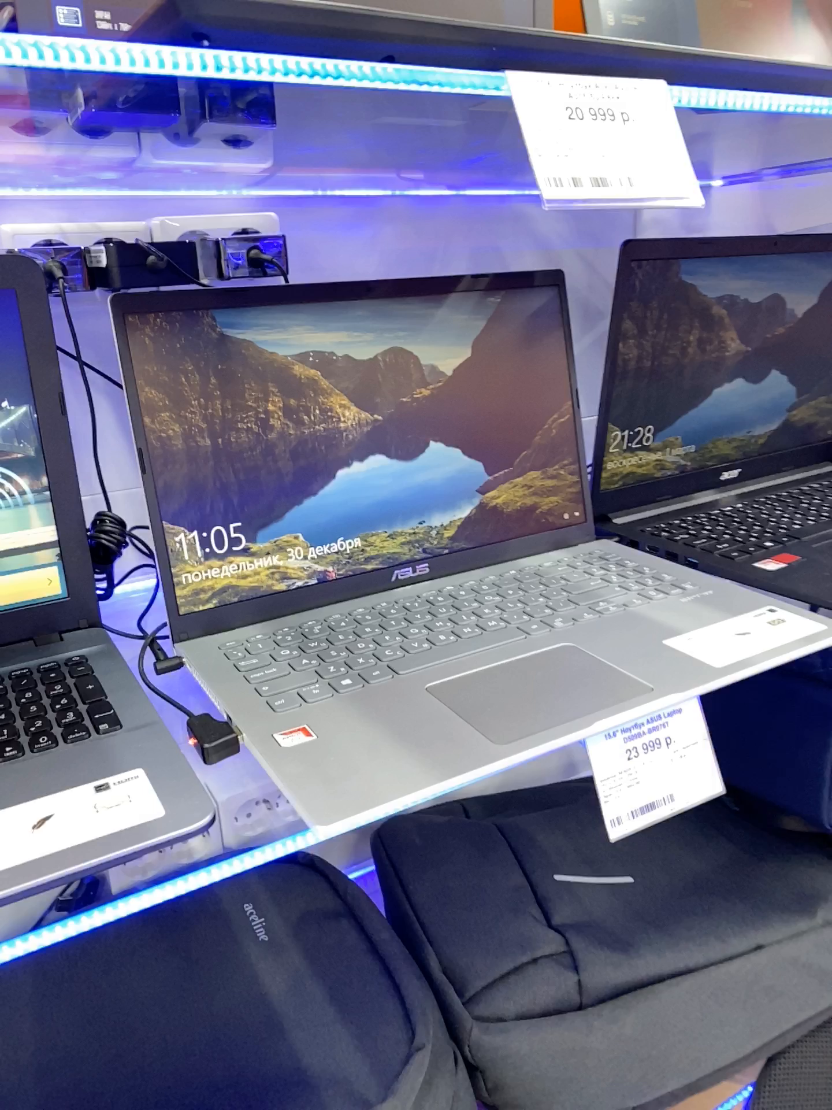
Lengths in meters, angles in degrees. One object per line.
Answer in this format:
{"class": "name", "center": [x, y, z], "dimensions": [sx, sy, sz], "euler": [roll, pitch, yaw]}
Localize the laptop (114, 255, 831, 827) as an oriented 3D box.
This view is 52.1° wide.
{"class": "laptop", "center": [0.040, -0.058, 0.527], "dimensions": [0.360, 0.216, 0.286], "euler": [-12, 20, -27]}
